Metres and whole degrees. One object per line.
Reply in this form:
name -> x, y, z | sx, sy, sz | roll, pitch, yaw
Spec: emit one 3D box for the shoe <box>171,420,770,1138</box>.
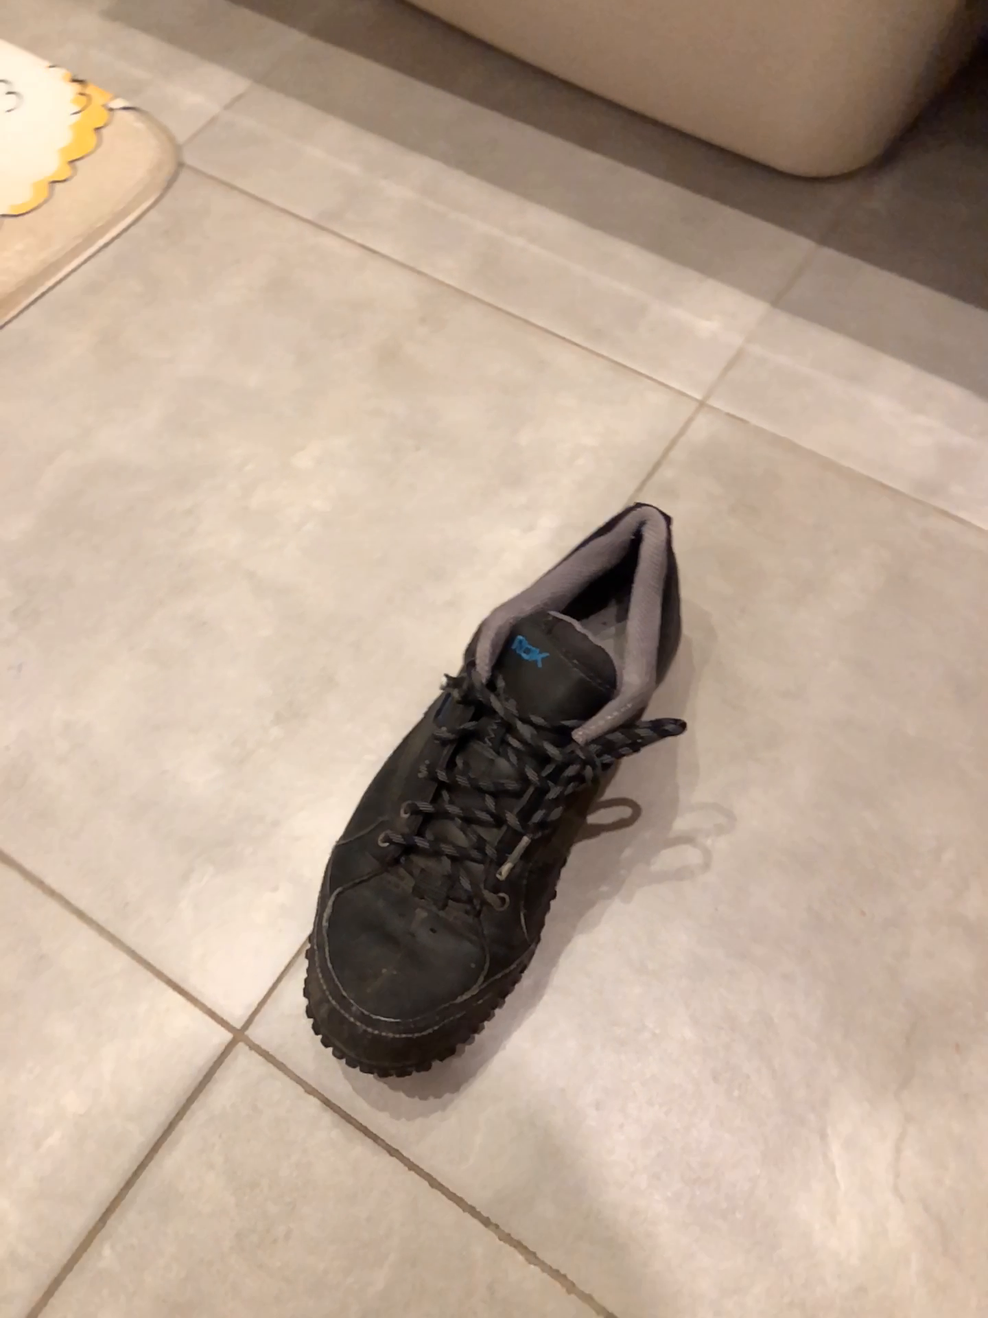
shoe -> 0.004, 0.045, 0.463 | 0.100, 0.110, 0.271 | 28, 66, 17
